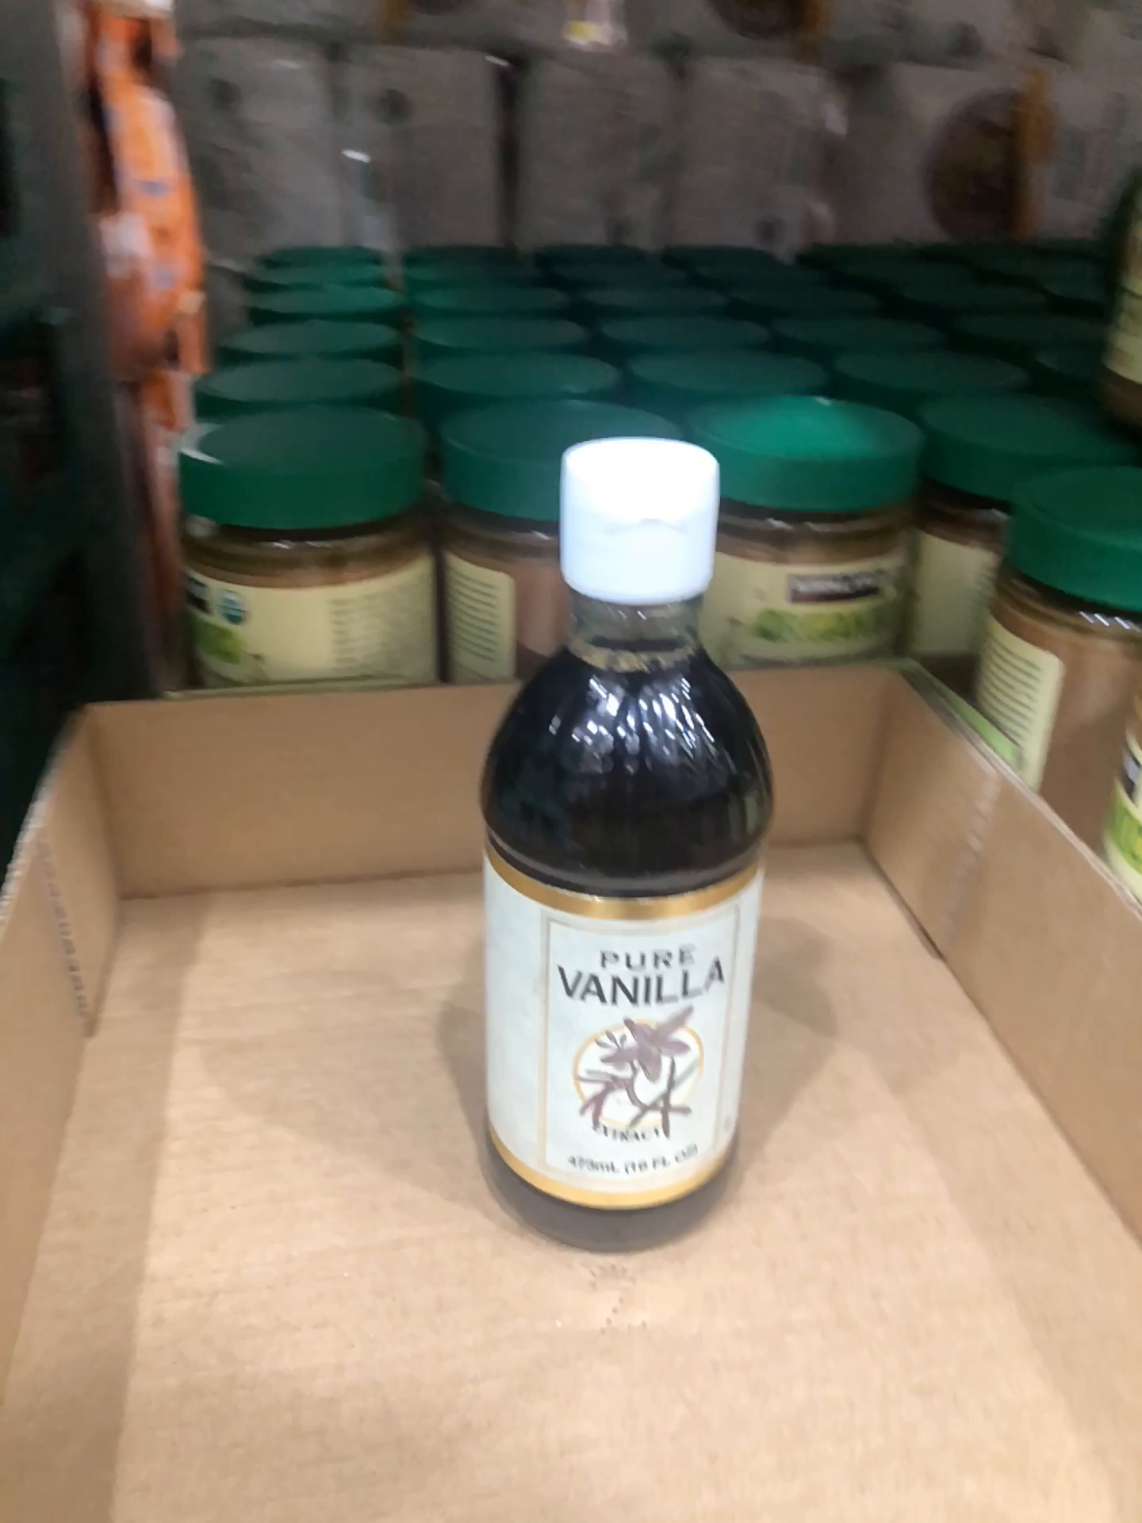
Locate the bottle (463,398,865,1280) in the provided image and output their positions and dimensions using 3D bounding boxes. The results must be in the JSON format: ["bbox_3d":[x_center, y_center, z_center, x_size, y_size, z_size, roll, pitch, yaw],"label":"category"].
[{"bbox_3d":[0.013,0.023,0.301,0.070,0.199,0.070,0,29,0],"label":"bottle"}]
